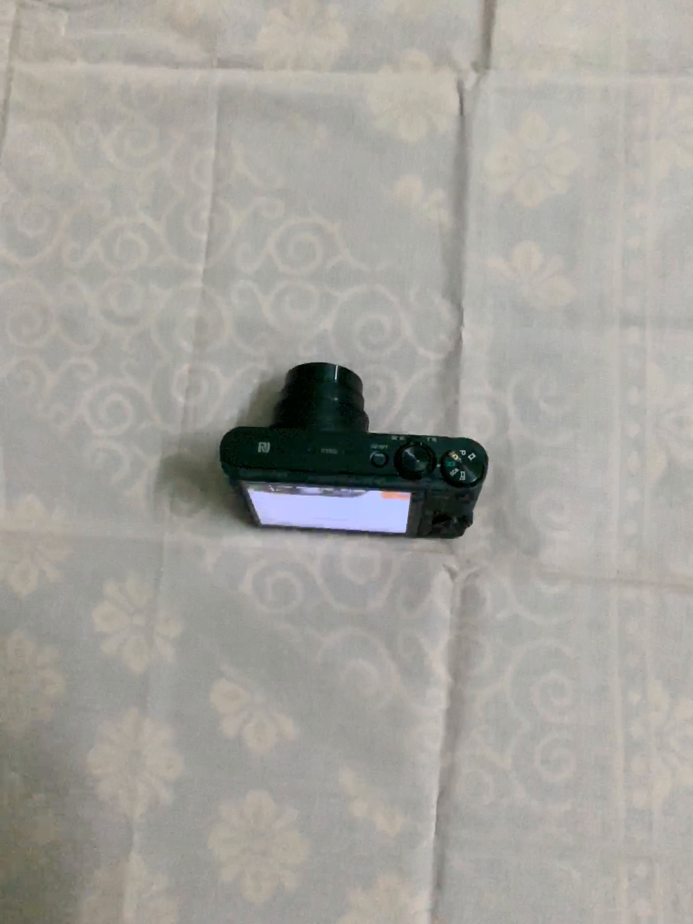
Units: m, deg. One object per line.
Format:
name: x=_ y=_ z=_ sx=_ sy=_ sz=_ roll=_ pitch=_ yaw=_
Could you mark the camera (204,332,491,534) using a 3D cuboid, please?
camera: x=0.003 y=-0.009 z=0.286 sx=0.100 sy=0.060 sz=0.058 roll=3 pitch=72 yaw=3
